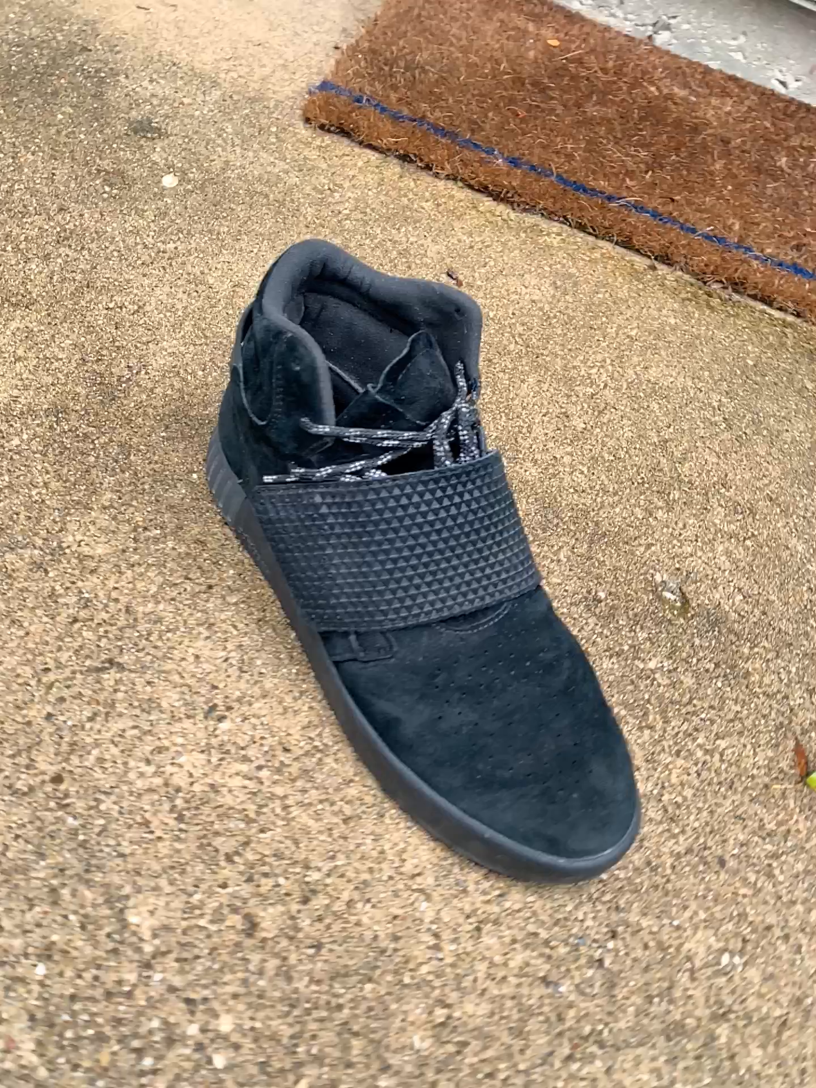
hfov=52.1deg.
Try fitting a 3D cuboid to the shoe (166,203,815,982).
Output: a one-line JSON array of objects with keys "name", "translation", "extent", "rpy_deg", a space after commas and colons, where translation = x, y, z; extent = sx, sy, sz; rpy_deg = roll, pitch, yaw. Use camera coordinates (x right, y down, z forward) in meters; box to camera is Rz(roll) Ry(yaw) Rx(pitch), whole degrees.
[{"name": "shoe", "translation": [0.020, 0.005, 0.364], "extent": [0.119, 0.141, 0.291], "rpy_deg": [-23, 63, -32]}]
